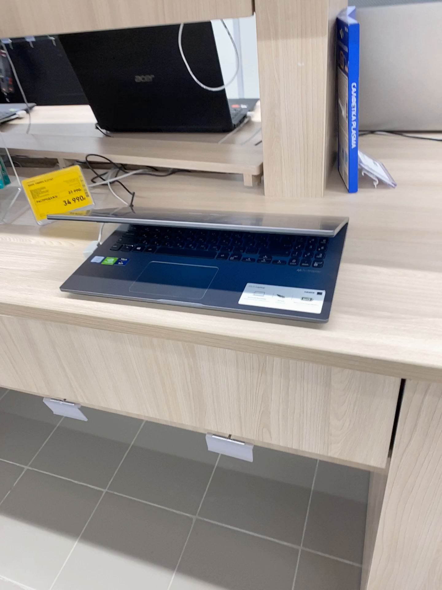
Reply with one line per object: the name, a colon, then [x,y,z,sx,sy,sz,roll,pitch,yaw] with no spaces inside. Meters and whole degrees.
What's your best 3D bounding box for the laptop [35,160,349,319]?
laptop: [-0.021,-0.096,0.612,0.353,0.088,0.237,6,37,17]
